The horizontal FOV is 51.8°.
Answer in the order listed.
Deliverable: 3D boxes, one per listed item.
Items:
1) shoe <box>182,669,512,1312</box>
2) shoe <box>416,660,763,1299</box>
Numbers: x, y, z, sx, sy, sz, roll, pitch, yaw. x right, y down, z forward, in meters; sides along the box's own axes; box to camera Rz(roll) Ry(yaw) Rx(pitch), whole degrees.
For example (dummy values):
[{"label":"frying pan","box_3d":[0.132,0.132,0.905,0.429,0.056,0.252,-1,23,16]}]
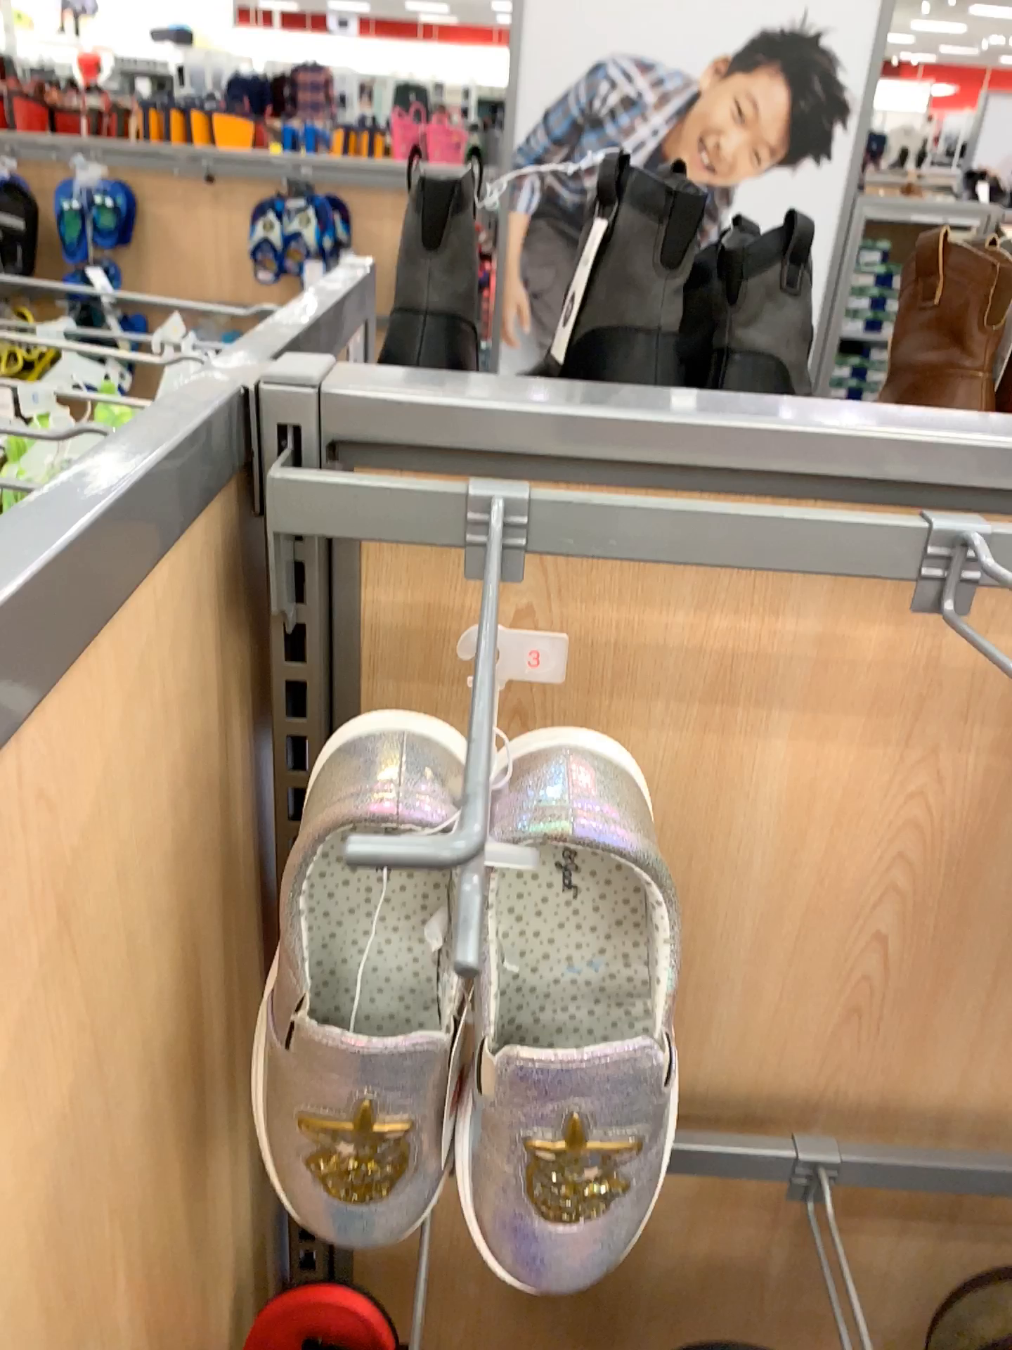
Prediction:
[{"label":"shoe","box_3d":[-0.058,0.124,0.413,0.100,0.220,0.114,3,24,-4]},{"label":"shoe","box_3d":[0.020,0.120,0.415,0.100,0.220,0.114,3,24,-4]}]
